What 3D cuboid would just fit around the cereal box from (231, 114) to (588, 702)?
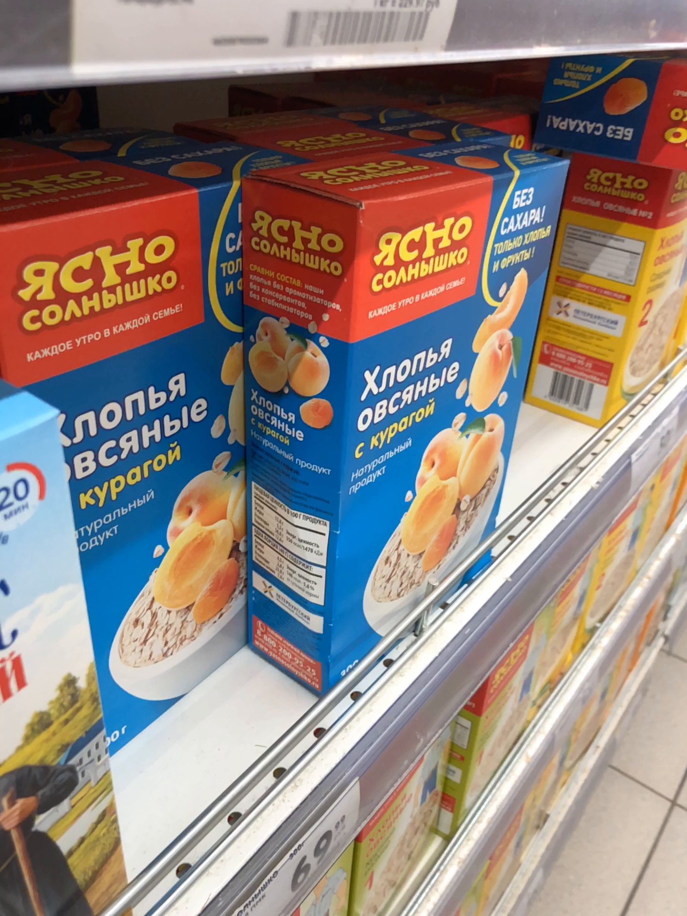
[{"bbox_3d":[0.027,-0.026,0.327,0.050,0.209,0.151,25,37,32],"label":"cereal box"}]
